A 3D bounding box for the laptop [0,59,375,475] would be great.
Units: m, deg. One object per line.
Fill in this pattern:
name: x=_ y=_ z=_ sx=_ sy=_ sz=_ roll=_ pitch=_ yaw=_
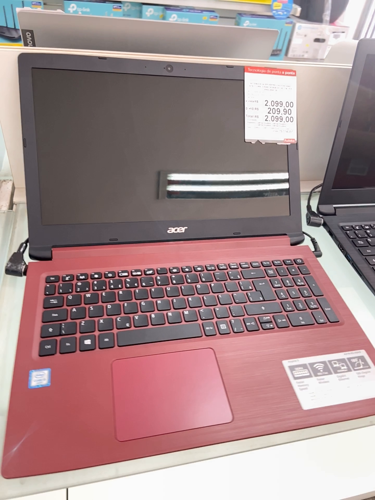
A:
laptop: x=0.006 y=-0.044 z=0.450 sx=0.391 sy=0.193 sz=0.431 roll=-3 pitch=42 yaw=-13
